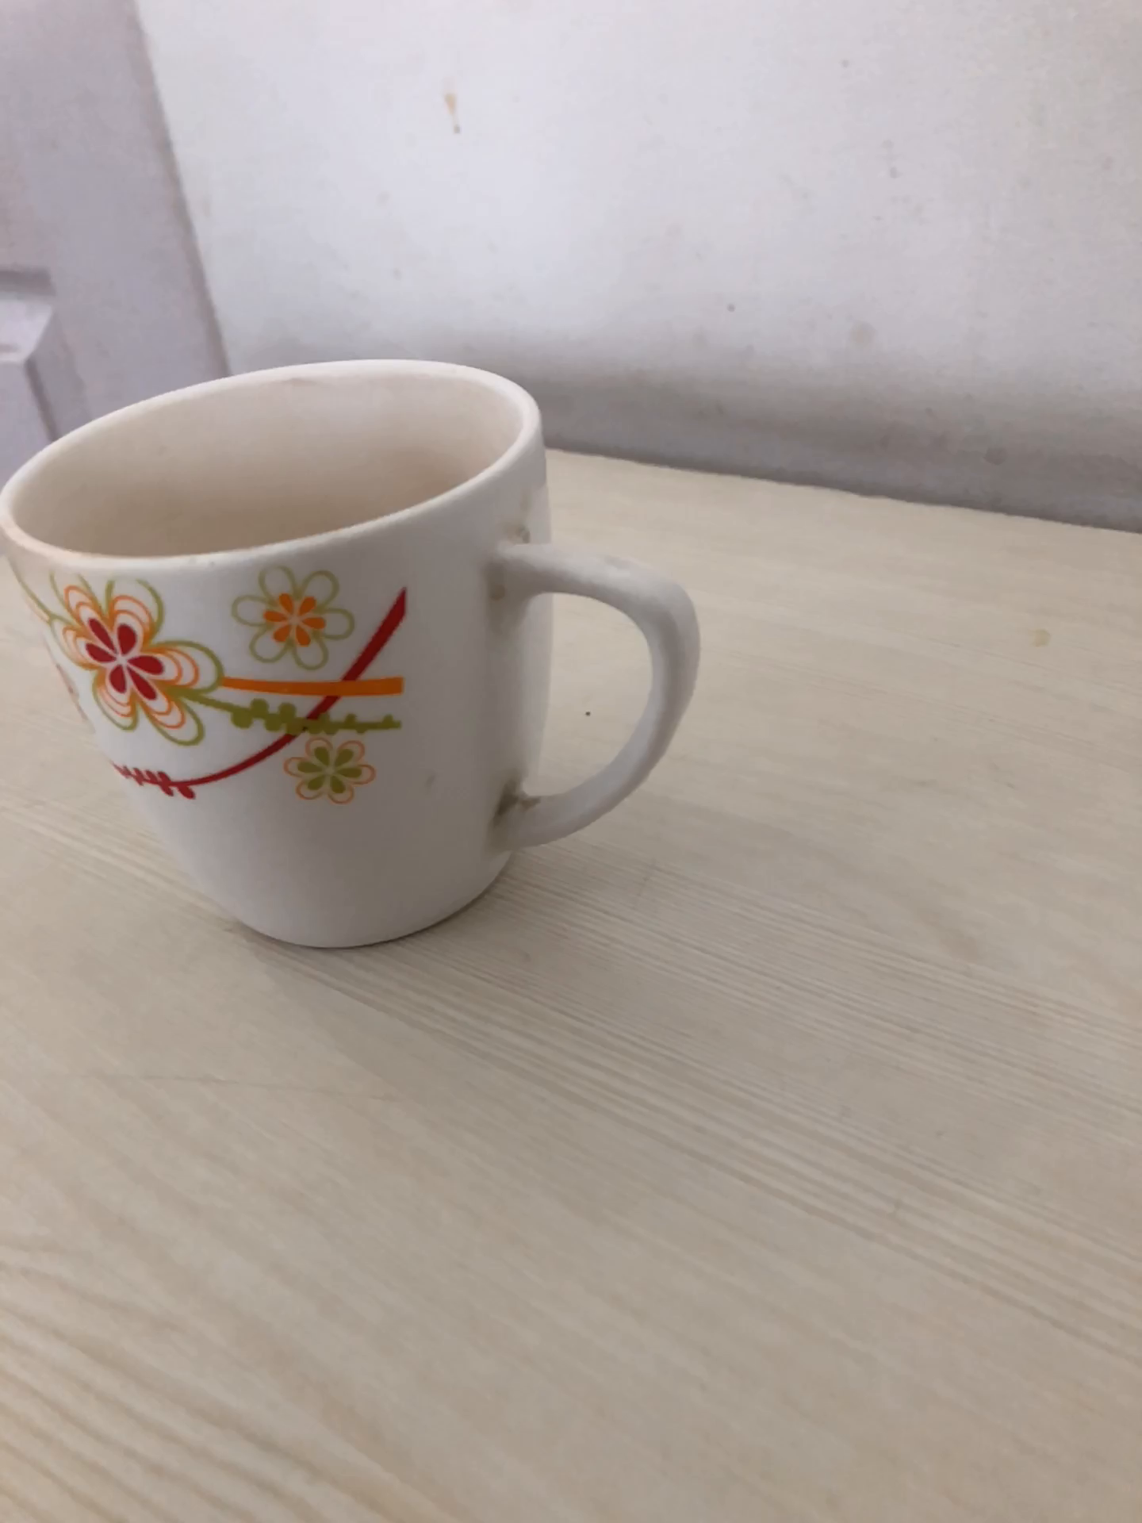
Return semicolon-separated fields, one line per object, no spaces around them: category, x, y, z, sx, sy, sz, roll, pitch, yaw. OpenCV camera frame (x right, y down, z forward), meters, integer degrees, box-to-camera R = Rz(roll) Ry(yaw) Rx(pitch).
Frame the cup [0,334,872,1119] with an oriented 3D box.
cup;-0.022;-0.015;0.187;0.110;0.070;0.070;13;38;27
